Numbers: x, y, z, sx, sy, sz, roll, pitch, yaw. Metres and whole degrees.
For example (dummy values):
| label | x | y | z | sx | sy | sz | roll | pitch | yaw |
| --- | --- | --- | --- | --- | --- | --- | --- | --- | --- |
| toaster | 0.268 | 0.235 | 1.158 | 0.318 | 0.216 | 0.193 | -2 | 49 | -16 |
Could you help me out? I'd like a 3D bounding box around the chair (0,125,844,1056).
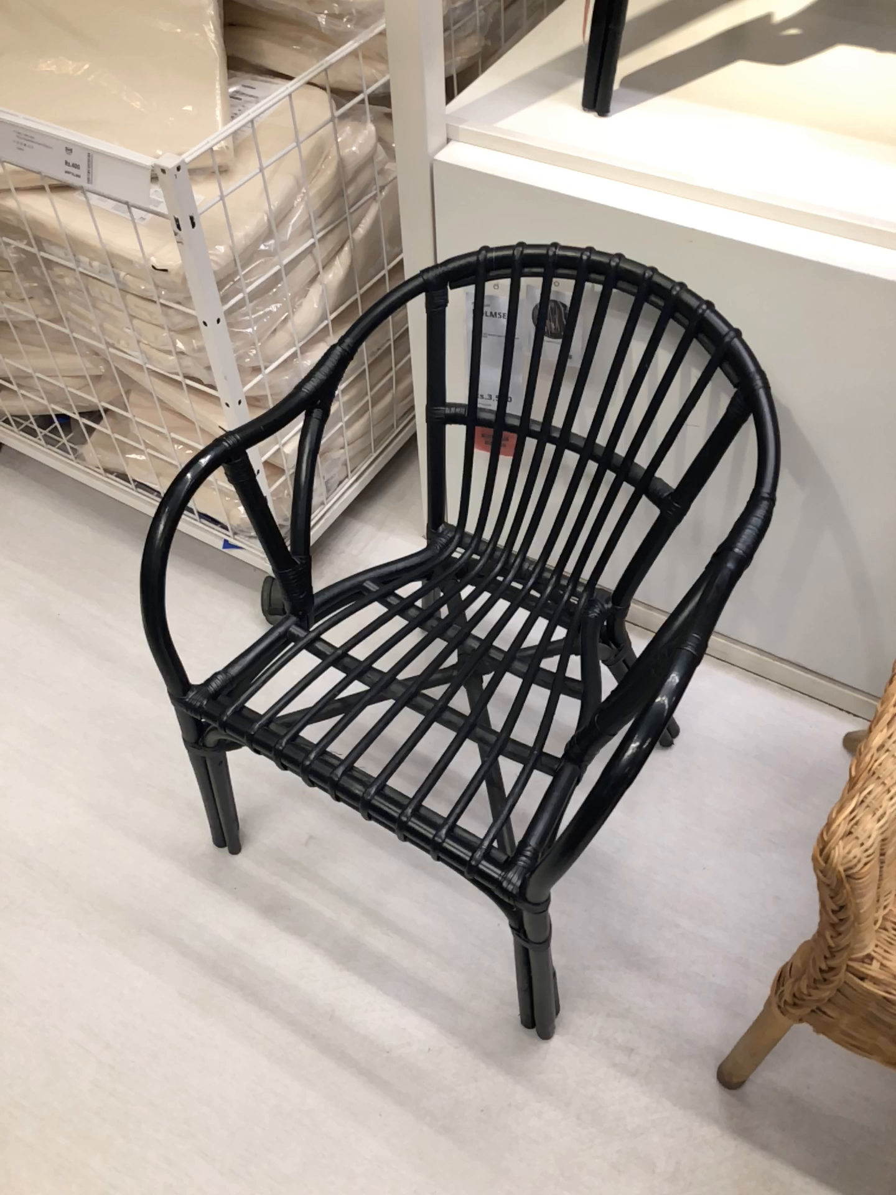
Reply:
| label | x | y | z | sx | sy | sz | roll | pitch | yaw |
| --- | --- | --- | --- | --- | --- | --- | --- | --- | --- |
| chair | -0.022 | 0.026 | 1.062 | 0.551 | 0.756 | 0.472 | 24 | 56 | 21 |
